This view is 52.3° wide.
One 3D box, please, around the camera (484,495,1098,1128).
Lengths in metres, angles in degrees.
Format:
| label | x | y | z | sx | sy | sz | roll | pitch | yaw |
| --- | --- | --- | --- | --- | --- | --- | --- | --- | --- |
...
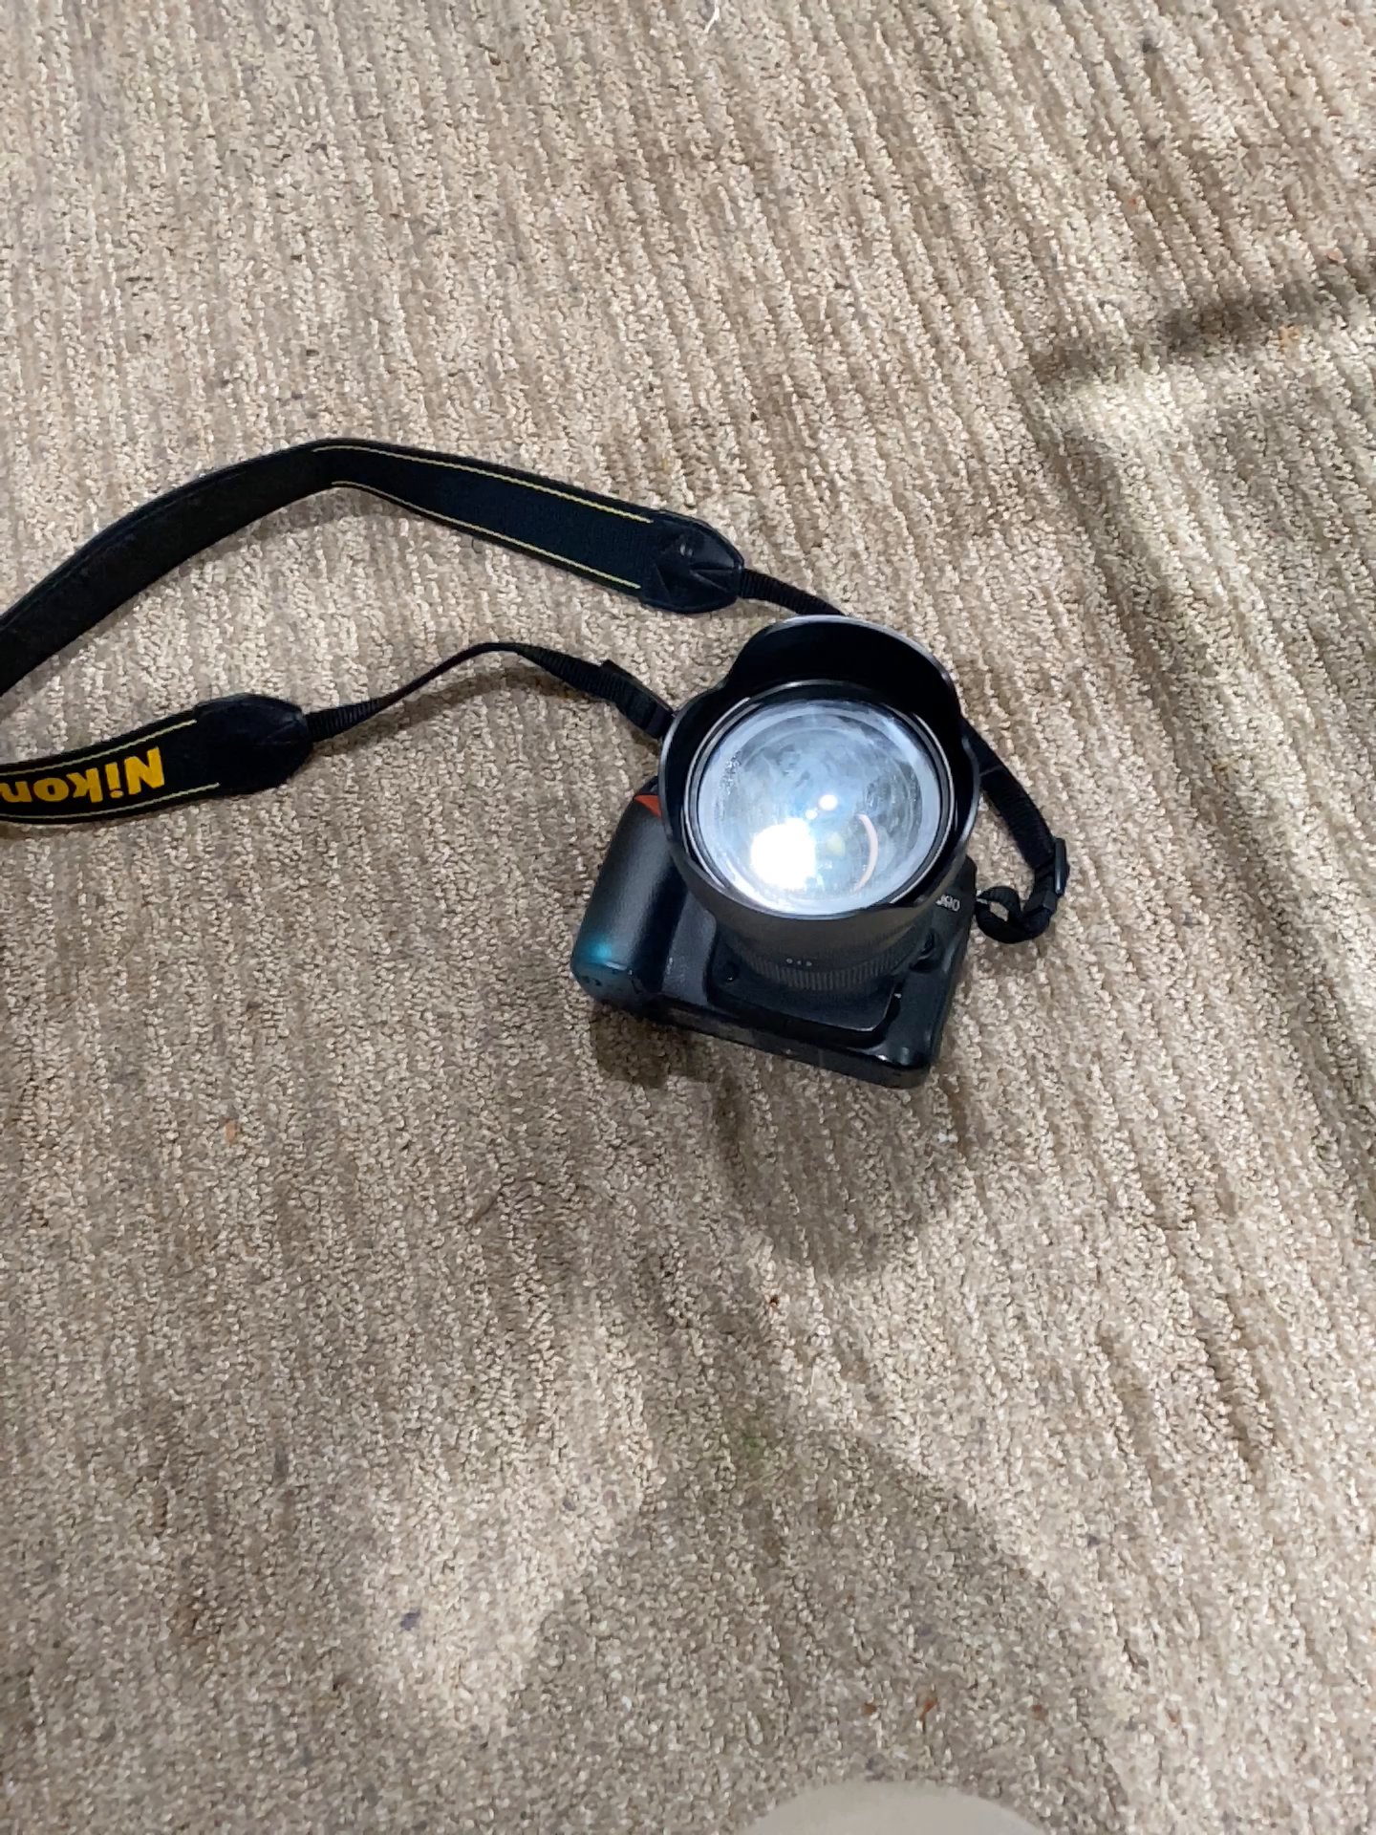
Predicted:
| label | x | y | z | sx | sy | sz | roll | pitch | yaw |
| --- | --- | --- | --- | --- | --- | --- | --- | --- | --- |
| camera | 0.033 | -0.023 | 0.453 | 0.138 | 0.166 | 0.114 | 16 | 71 | 9 |
